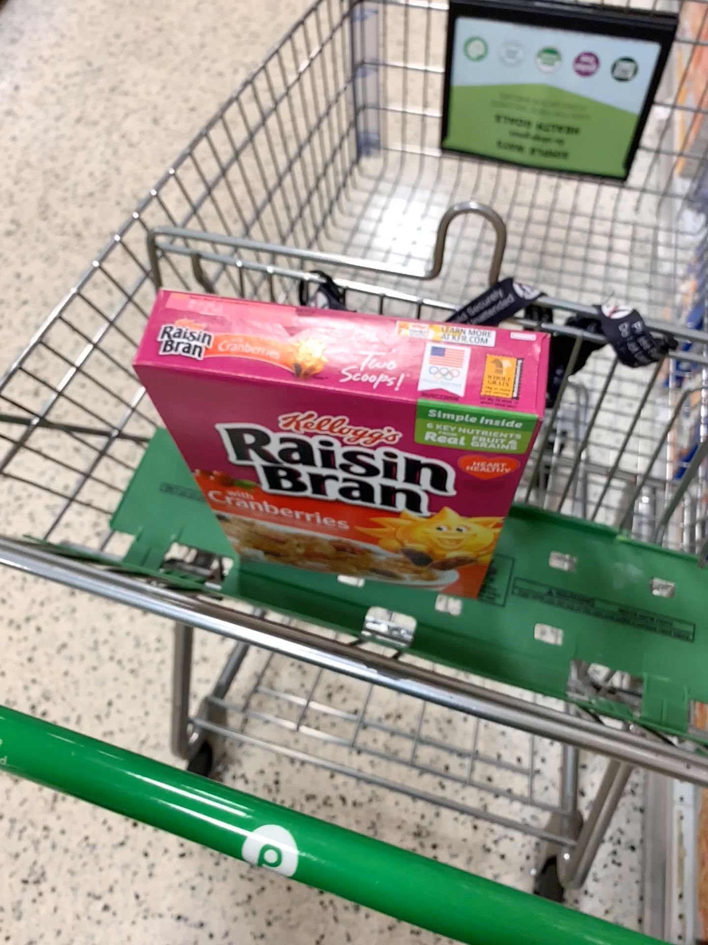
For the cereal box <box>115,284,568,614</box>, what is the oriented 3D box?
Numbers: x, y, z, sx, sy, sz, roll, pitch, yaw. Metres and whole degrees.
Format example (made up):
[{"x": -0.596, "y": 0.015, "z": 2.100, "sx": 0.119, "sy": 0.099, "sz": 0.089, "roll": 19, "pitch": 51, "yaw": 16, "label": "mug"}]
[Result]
[{"x": 0.000, "y": 0.012, "z": 0.499, "sx": 0.210, "sy": 0.328, "sz": 0.050, "roll": 9, "pitch": 66, "yaw": 7, "label": "cereal box"}]
